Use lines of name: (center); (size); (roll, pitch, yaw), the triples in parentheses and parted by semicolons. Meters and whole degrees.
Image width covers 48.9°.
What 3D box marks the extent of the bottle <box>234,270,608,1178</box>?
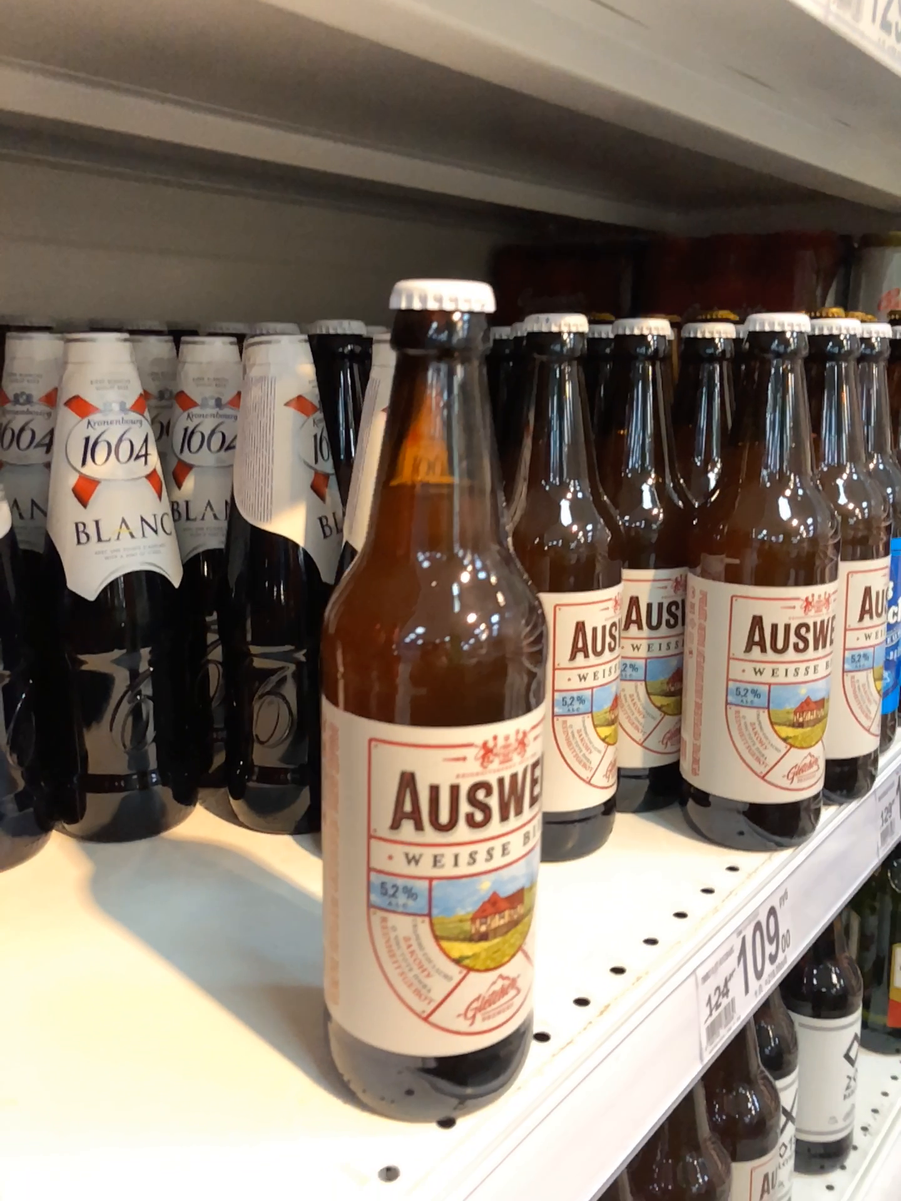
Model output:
bottle: (-0.009, 0.032, 0.309); (0.080, 0.249, 0.070); (-10, 16, -36)
